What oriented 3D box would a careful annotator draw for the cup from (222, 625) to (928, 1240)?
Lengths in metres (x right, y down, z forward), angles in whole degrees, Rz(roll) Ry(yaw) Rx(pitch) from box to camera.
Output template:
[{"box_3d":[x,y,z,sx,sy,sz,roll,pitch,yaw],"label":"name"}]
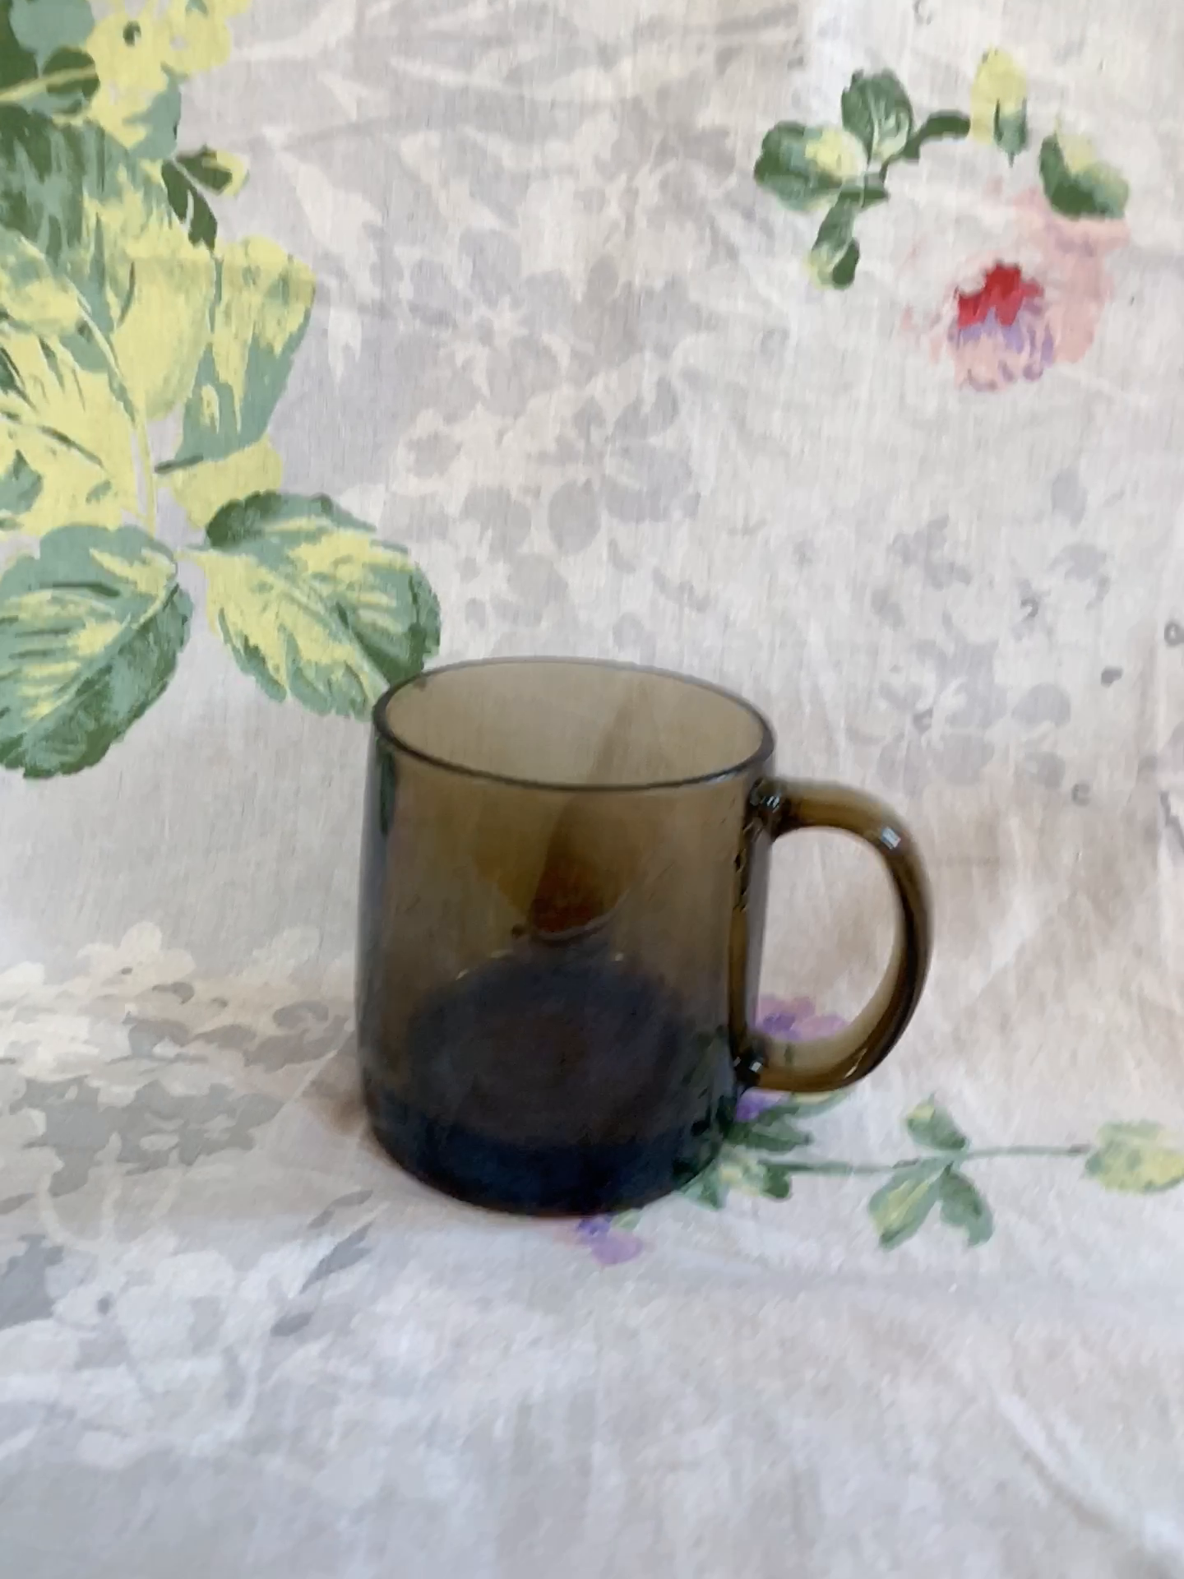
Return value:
[{"box_3d":[-0.003,0.025,0.263,0.119,0.099,0.082,2,21,1],"label":"cup"}]
